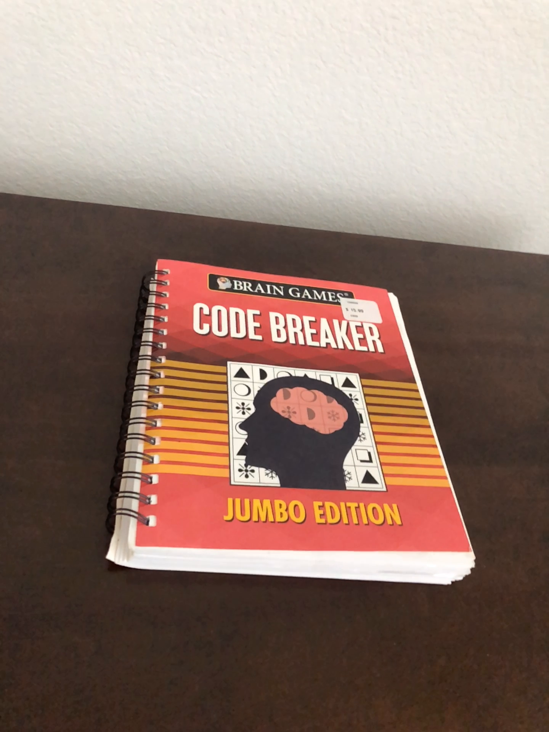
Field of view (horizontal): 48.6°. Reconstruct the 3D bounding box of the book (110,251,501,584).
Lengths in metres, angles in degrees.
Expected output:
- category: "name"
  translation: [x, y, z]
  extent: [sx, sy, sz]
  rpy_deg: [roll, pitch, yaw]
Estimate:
- category: "book"
  translation: [0.013, 0.021, 0.391]
  extent: [0.203, 0.030, 0.225]
  rpy_deg: [6, 47, -11]
